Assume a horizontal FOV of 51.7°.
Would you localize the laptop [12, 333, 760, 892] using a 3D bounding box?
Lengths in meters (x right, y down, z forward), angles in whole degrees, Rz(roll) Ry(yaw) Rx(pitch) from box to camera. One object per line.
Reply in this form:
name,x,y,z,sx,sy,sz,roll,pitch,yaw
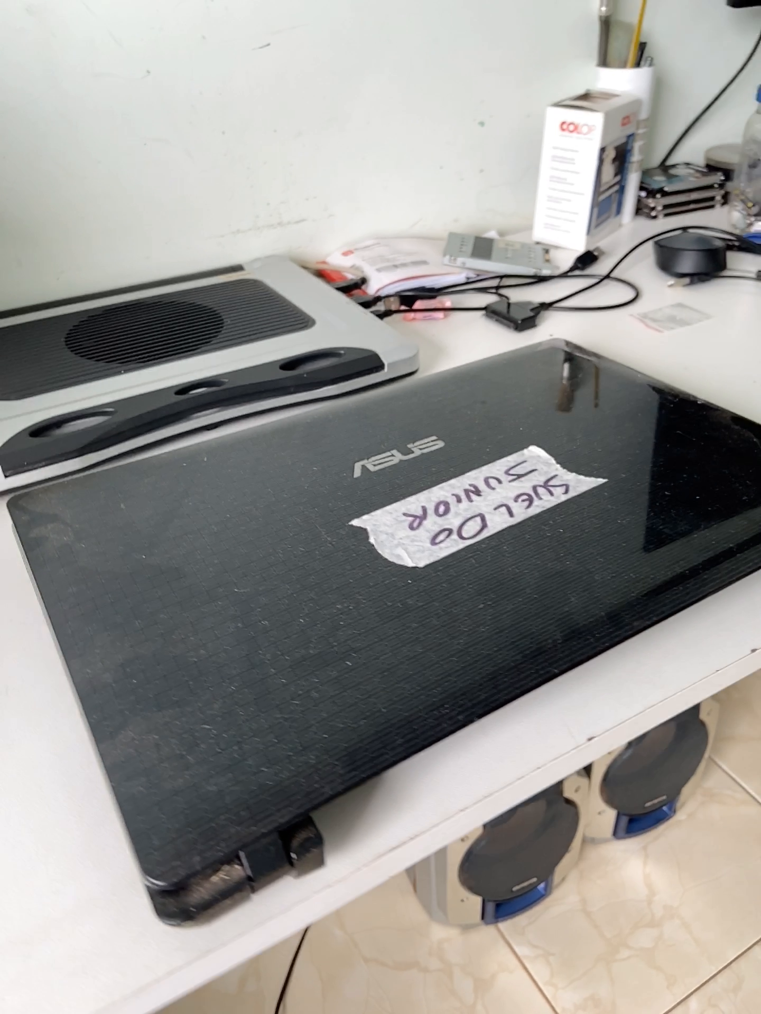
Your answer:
laptop,0.028,-0.005,0.386,0.363,0.001,0.237,-21,38,-24
